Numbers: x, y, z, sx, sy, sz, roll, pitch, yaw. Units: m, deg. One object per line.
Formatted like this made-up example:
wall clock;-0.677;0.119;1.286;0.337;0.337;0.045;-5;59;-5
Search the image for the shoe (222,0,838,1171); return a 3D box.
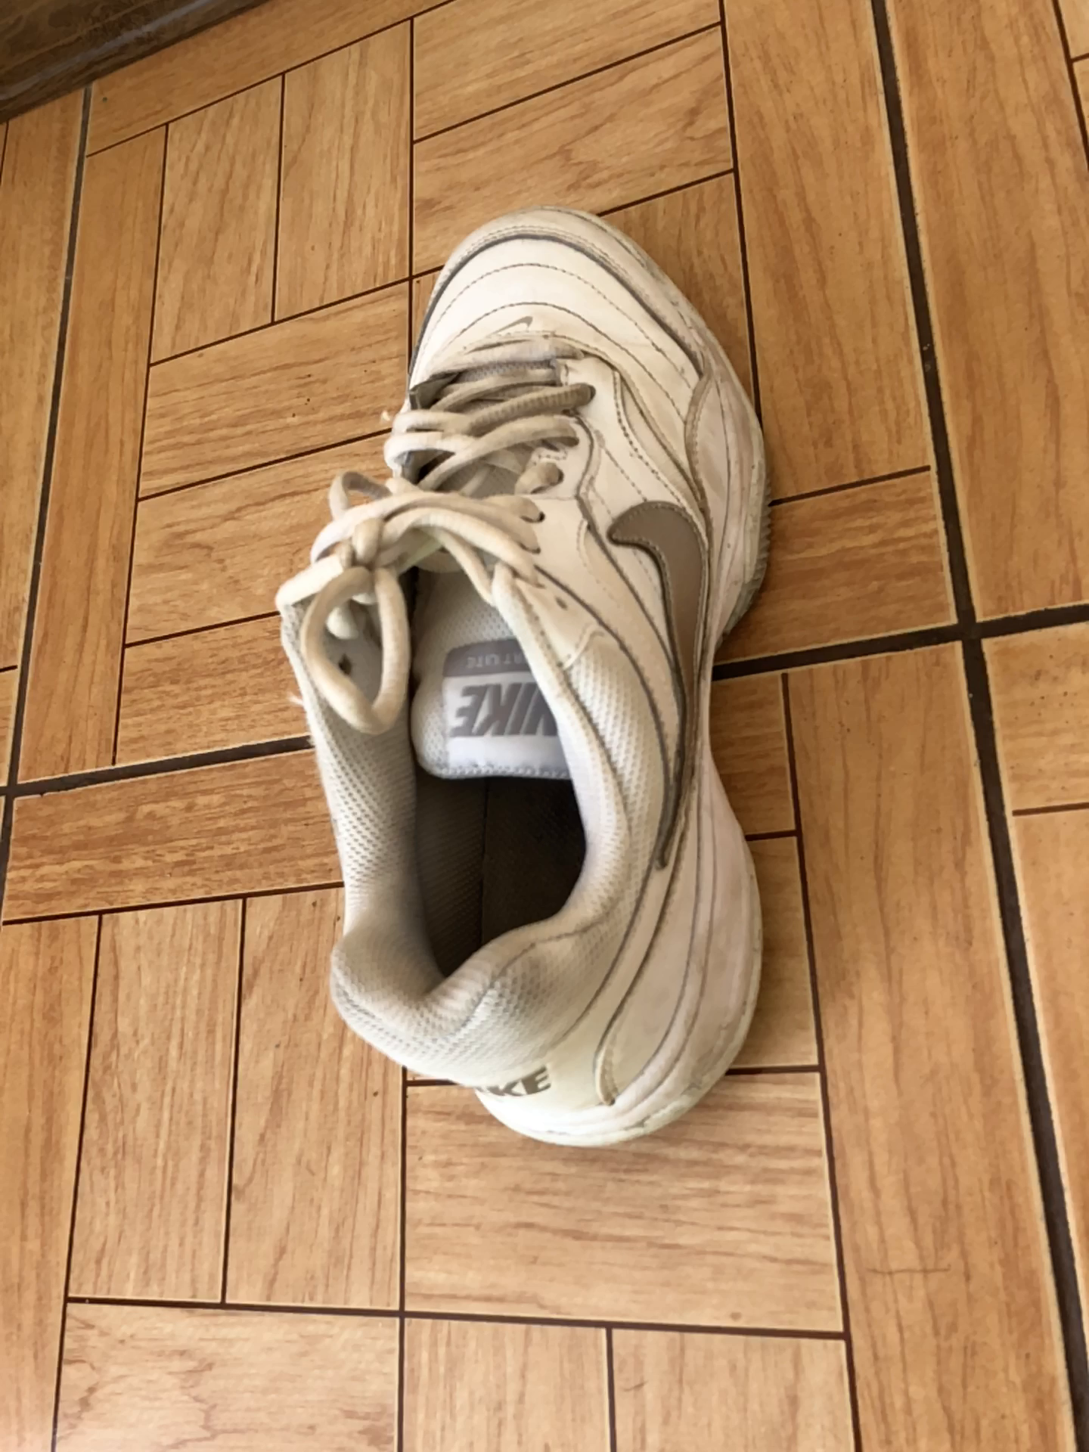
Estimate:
shoe;-0.002;-0.032;0.298;0.100;0.100;0.260;-10;71;22
